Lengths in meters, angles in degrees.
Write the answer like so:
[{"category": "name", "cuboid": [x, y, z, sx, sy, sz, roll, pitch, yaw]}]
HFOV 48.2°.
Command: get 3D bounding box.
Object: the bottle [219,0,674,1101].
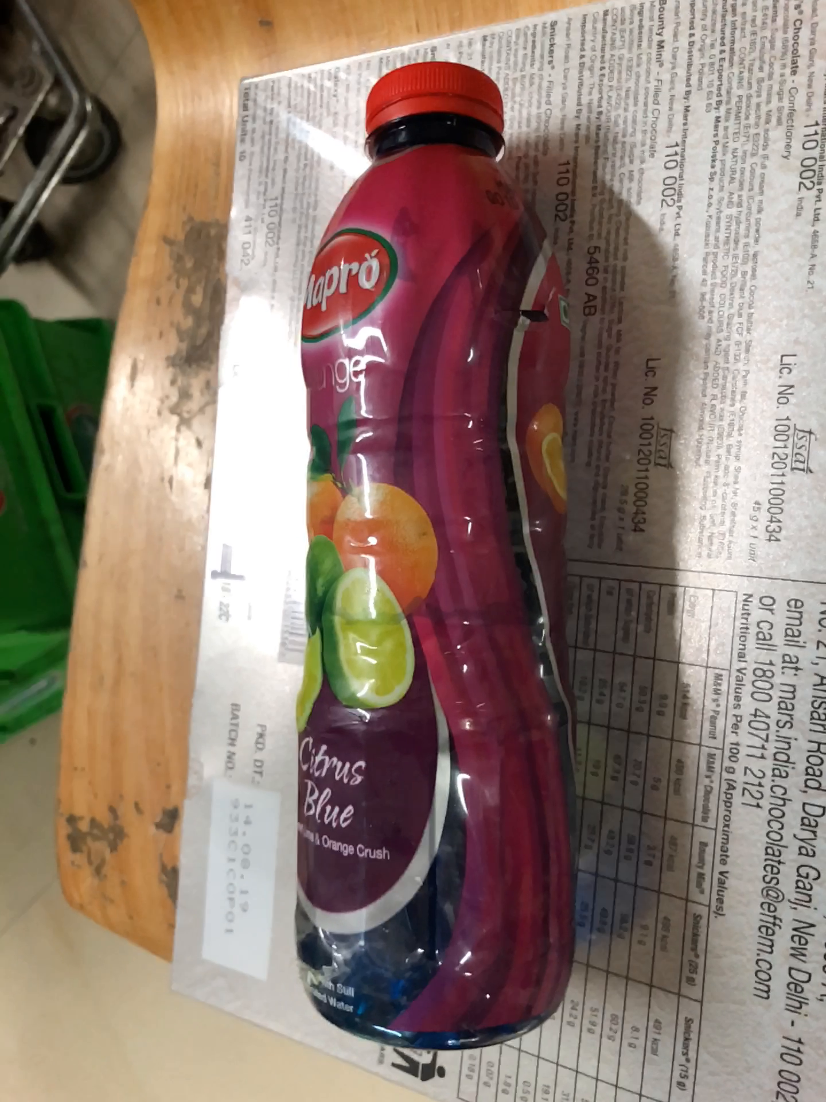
[{"category": "bottle", "cuboid": [0.007, -0.016, 0.253, 0.090, 0.080, 0.270, 0, 91, 52]}]
